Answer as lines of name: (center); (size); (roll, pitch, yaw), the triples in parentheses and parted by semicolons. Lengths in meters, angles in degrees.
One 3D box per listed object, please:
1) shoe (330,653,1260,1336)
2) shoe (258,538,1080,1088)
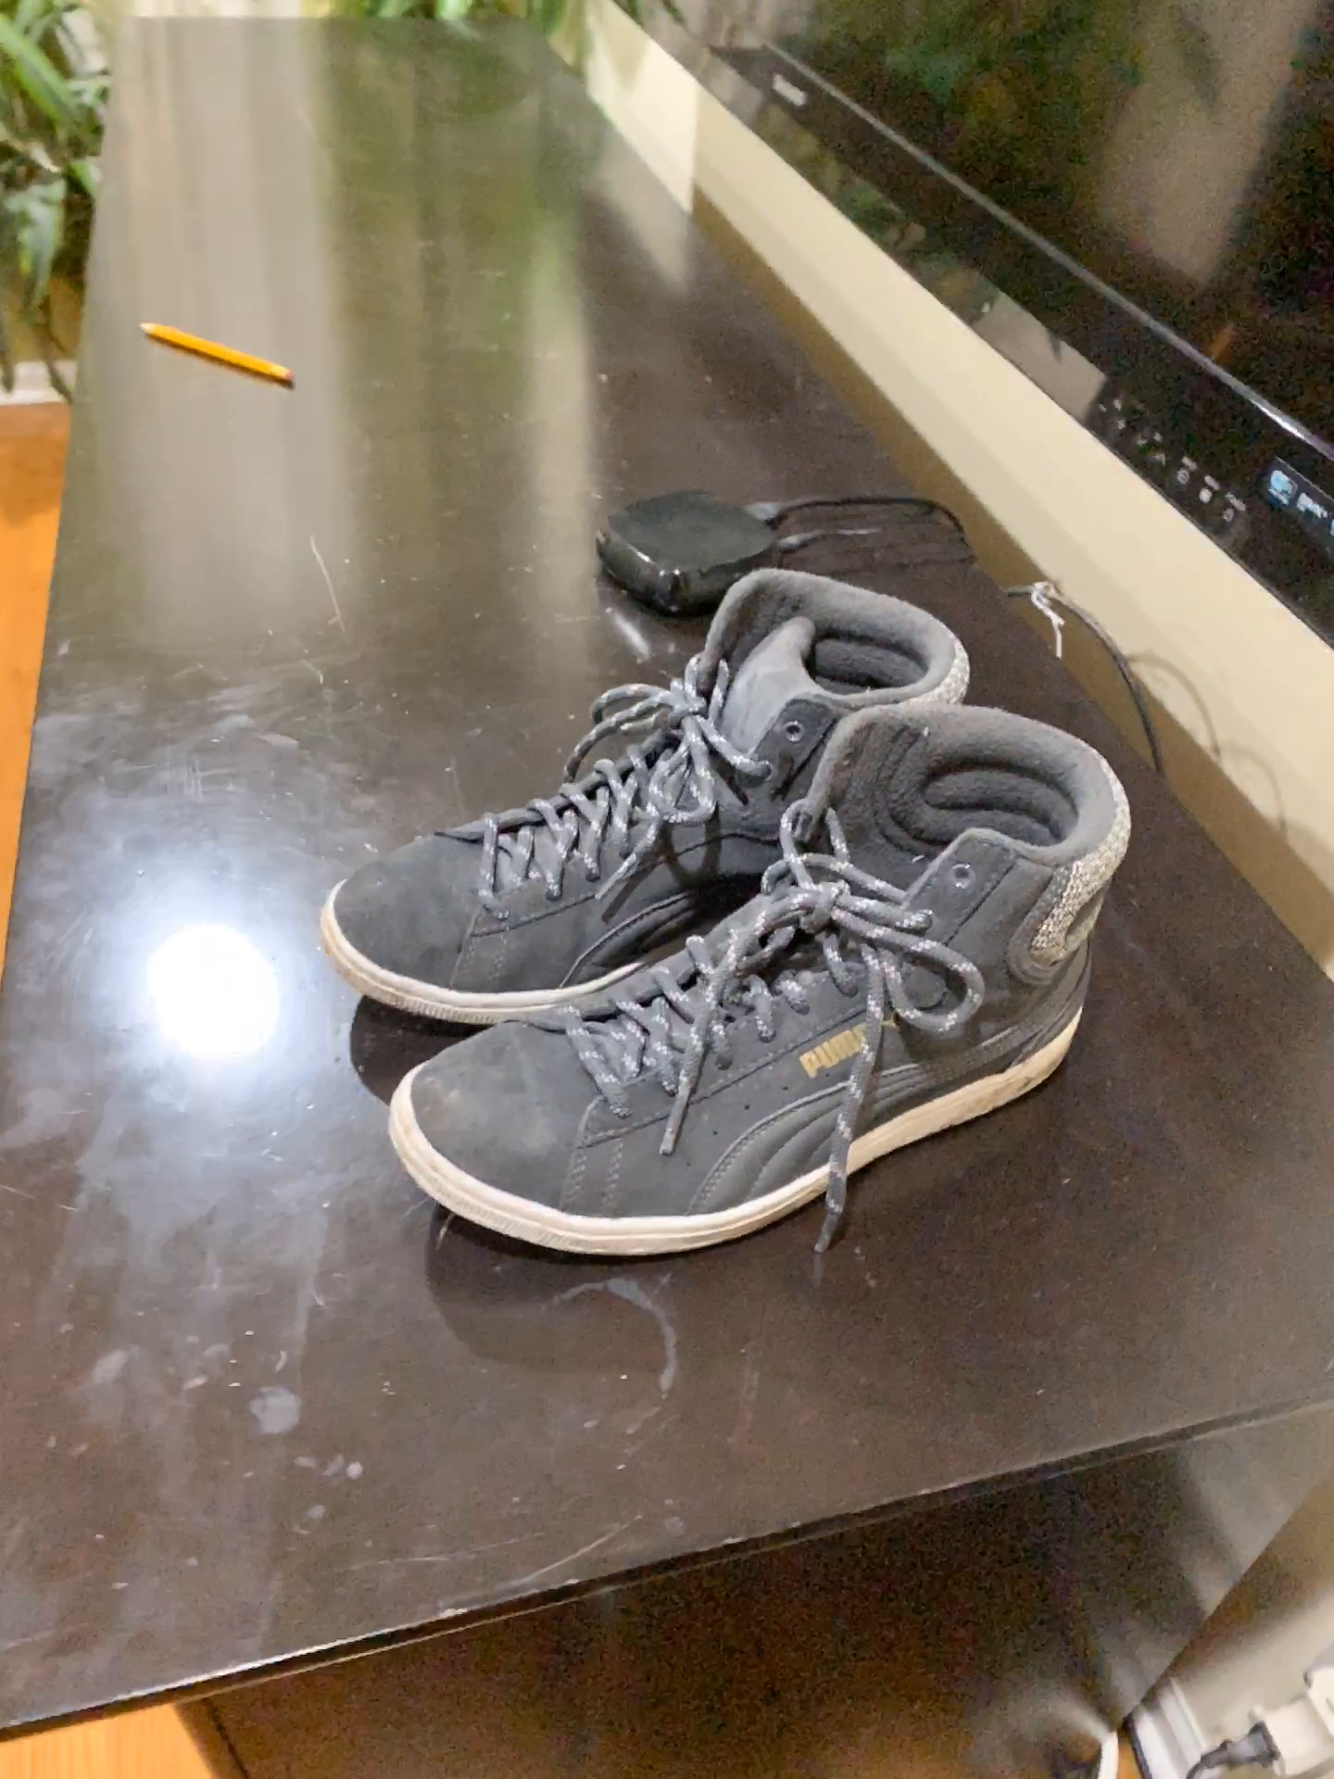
shoe: (0.037, 0.025, 0.437); (0.253, 0.124, 0.097); (-14, 46, -19)
shoe: (0.001, -0.036, 0.500); (0.261, 0.107, 0.101); (-15, 46, -19)
